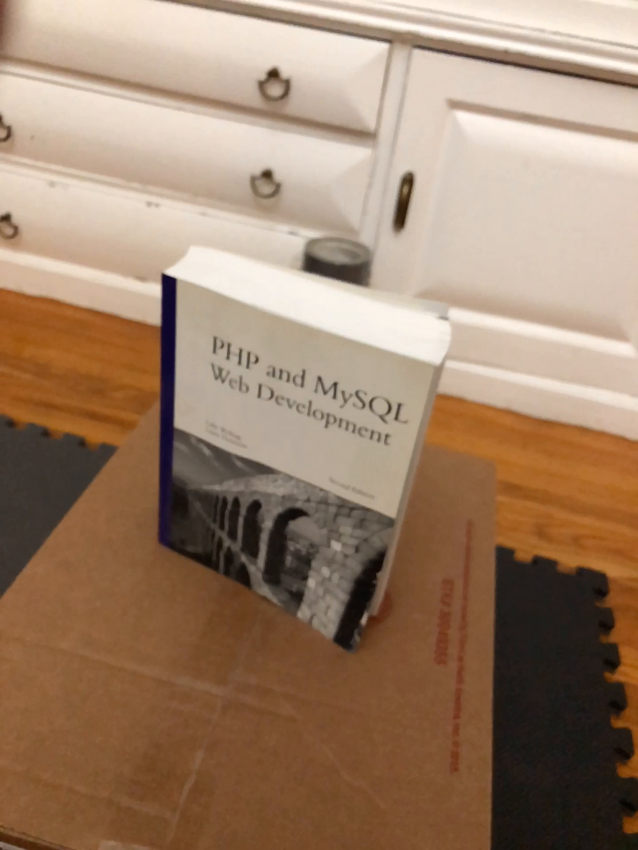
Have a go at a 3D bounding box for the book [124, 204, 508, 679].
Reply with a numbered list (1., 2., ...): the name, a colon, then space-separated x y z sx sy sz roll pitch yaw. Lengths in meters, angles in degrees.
1. book: -0.015 0.015 0.478 0.200 0.258 0.091 20 37 16
